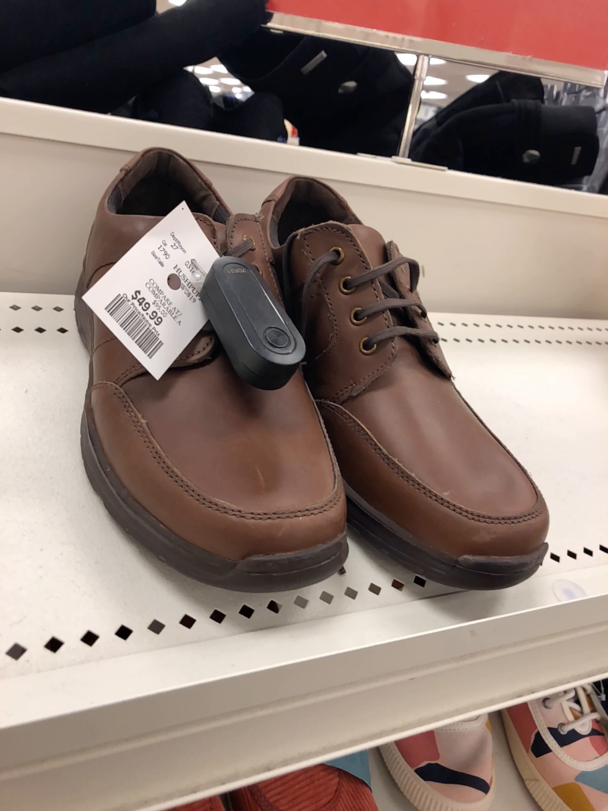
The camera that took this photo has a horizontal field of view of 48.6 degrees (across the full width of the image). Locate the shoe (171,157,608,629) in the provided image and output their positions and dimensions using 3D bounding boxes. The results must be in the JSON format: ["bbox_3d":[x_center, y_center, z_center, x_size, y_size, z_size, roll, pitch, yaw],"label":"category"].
[{"bbox_3d":[0.040,-0.048,0.386,0.120,0.109,0.342,-3,29,-30],"label":"shoe"}]

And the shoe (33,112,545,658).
[{"bbox_3d":[-0.054,-0.053,0.343,0.120,0.109,0.332,-2,31,-28],"label":"shoe"}]
